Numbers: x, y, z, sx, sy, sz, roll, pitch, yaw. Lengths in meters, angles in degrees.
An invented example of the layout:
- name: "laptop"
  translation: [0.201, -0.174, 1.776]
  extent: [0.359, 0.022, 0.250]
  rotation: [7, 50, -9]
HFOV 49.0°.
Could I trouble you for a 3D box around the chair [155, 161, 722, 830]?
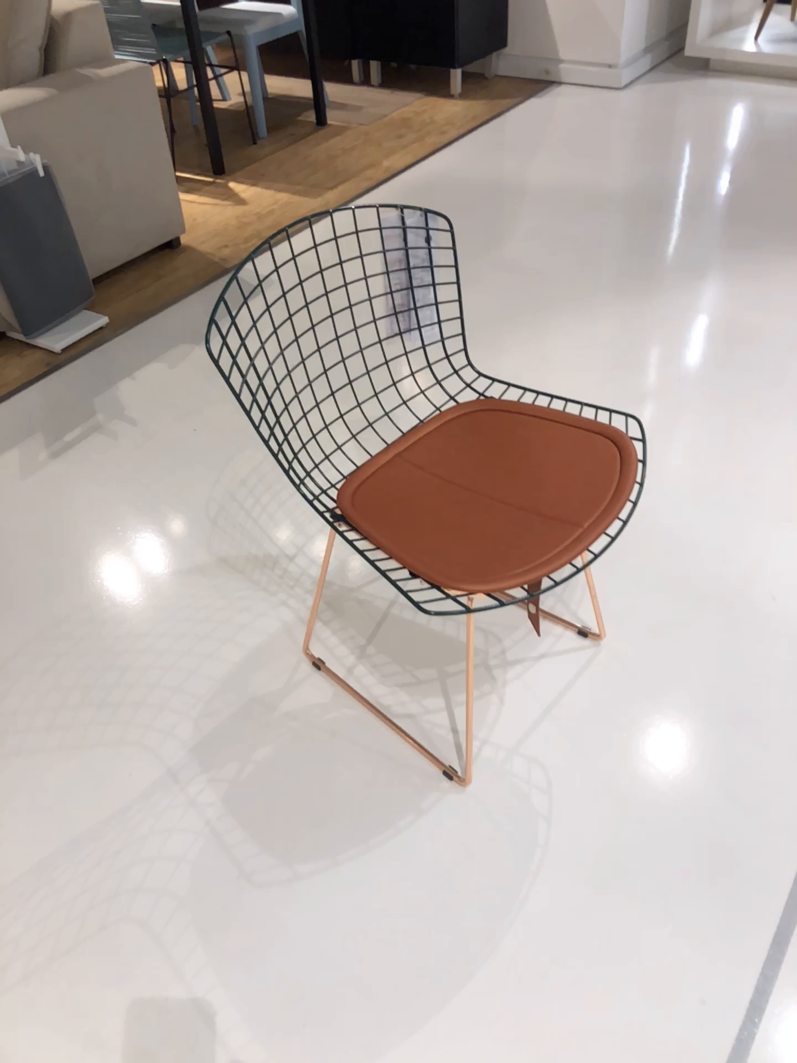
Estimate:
- name: "chair"
  translation: [0.070, -0.068, 1.311]
  extent: [0.502, 0.724, 0.492]
  rotation: [29, 50, 33]
